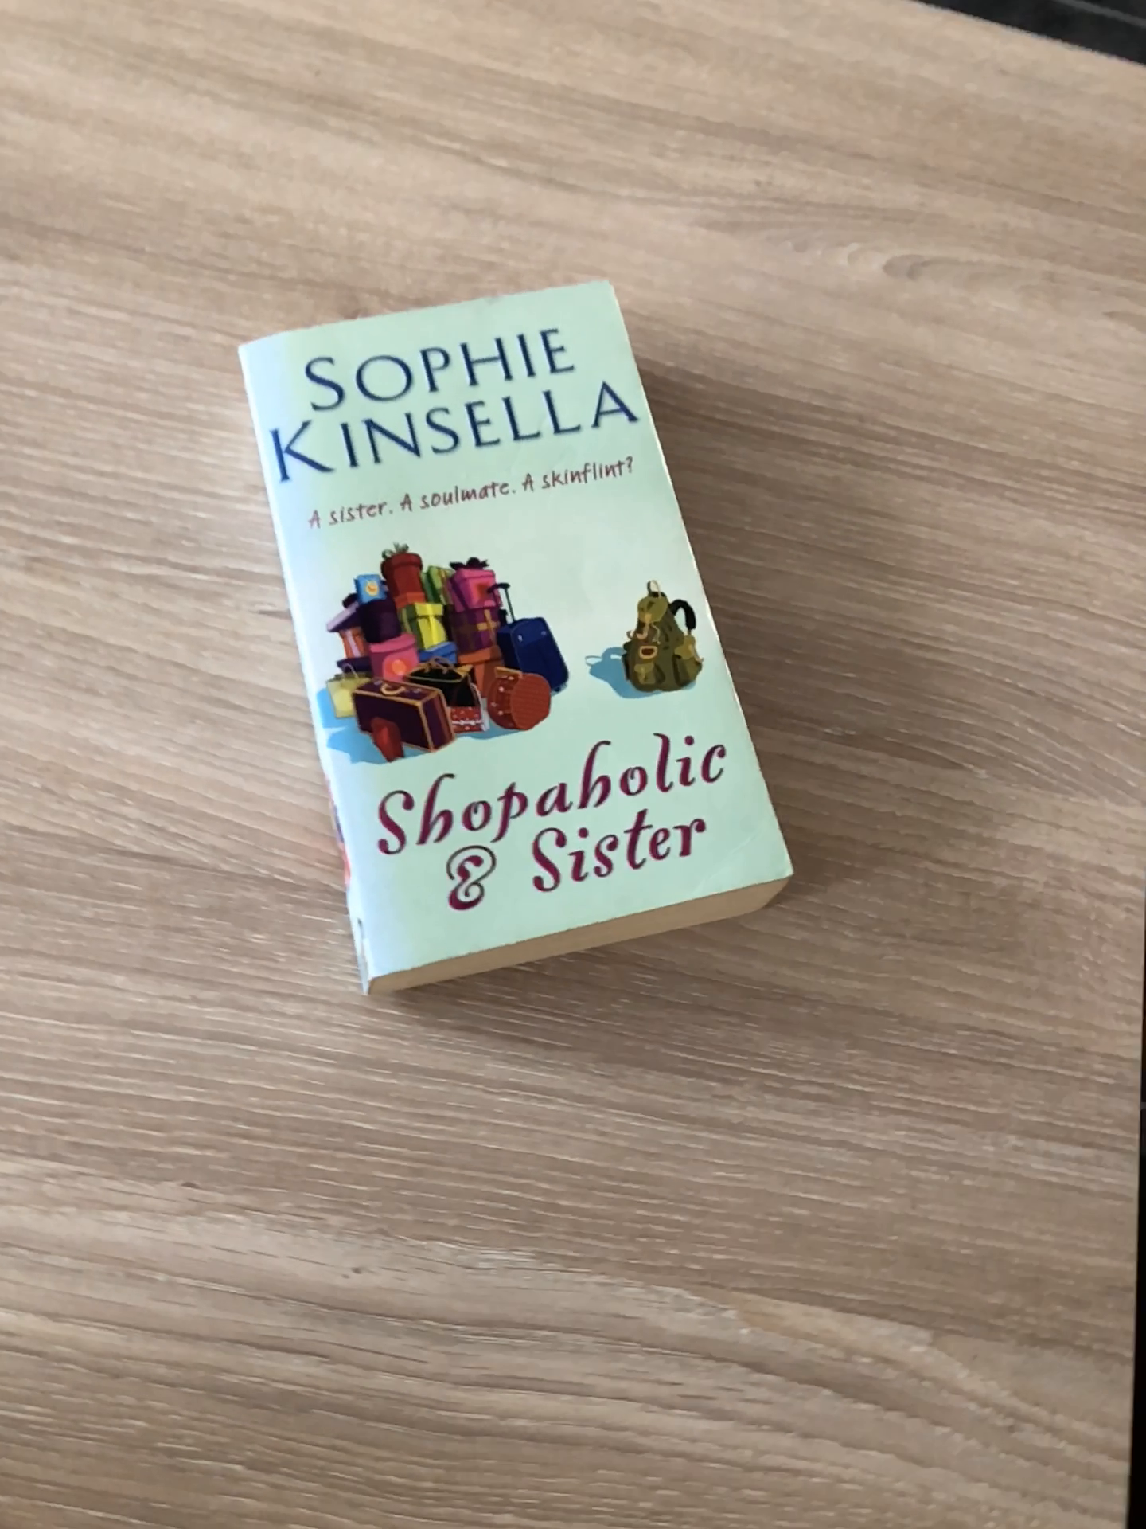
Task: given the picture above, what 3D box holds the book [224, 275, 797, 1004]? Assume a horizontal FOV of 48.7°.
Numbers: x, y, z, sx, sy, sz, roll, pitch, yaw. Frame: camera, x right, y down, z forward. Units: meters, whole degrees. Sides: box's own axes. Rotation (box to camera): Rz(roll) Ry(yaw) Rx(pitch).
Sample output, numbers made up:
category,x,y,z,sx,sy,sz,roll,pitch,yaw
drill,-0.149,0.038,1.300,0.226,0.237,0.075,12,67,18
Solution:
category,x,y,z,sx,sy,sz,roll,pitch,yaw
book,-0.021,-0.040,0.337,0.107,0.032,0.180,-12,73,-11
